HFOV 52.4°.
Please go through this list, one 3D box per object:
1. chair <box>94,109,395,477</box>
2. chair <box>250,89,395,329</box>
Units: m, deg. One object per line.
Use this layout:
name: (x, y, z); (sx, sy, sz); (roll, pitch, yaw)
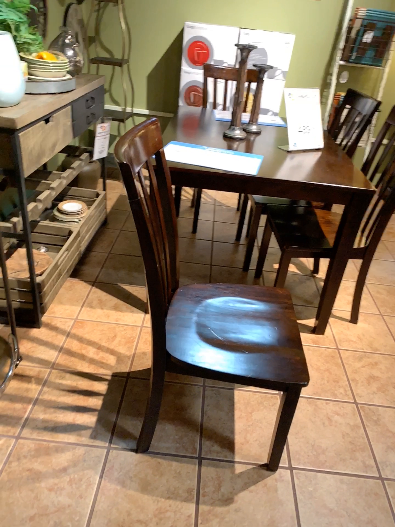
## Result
chair: (0.059, 0.111, 1.199); (0.584, 0.936, 0.464); (7, 31, 0)
chair: (0.641, -0.228, 1.851); (0.574, 0.946, 0.464); (3, 32, -6)
